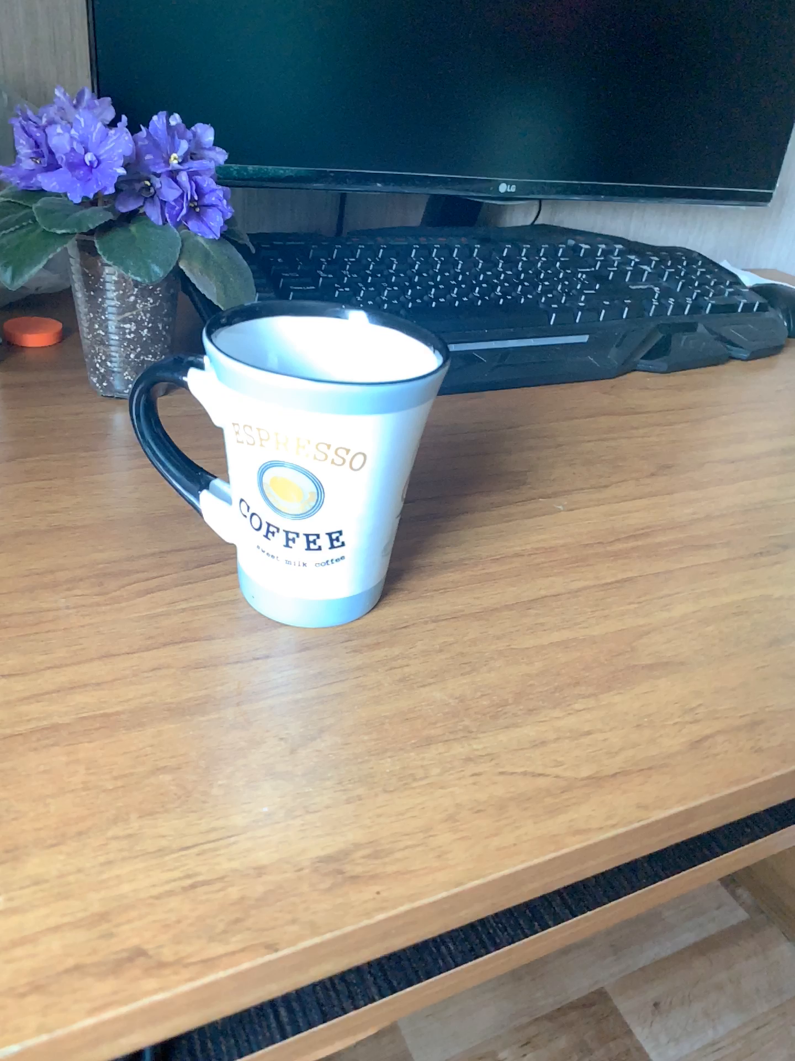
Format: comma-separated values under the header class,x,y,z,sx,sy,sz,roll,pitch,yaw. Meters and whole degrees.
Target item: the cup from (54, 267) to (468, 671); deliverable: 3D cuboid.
class,x,y,z,sx,sy,sz,roll,pitch,yaw
cup,-0.043,-0.025,0.283,0.110,0.100,0.070,12,30,11
